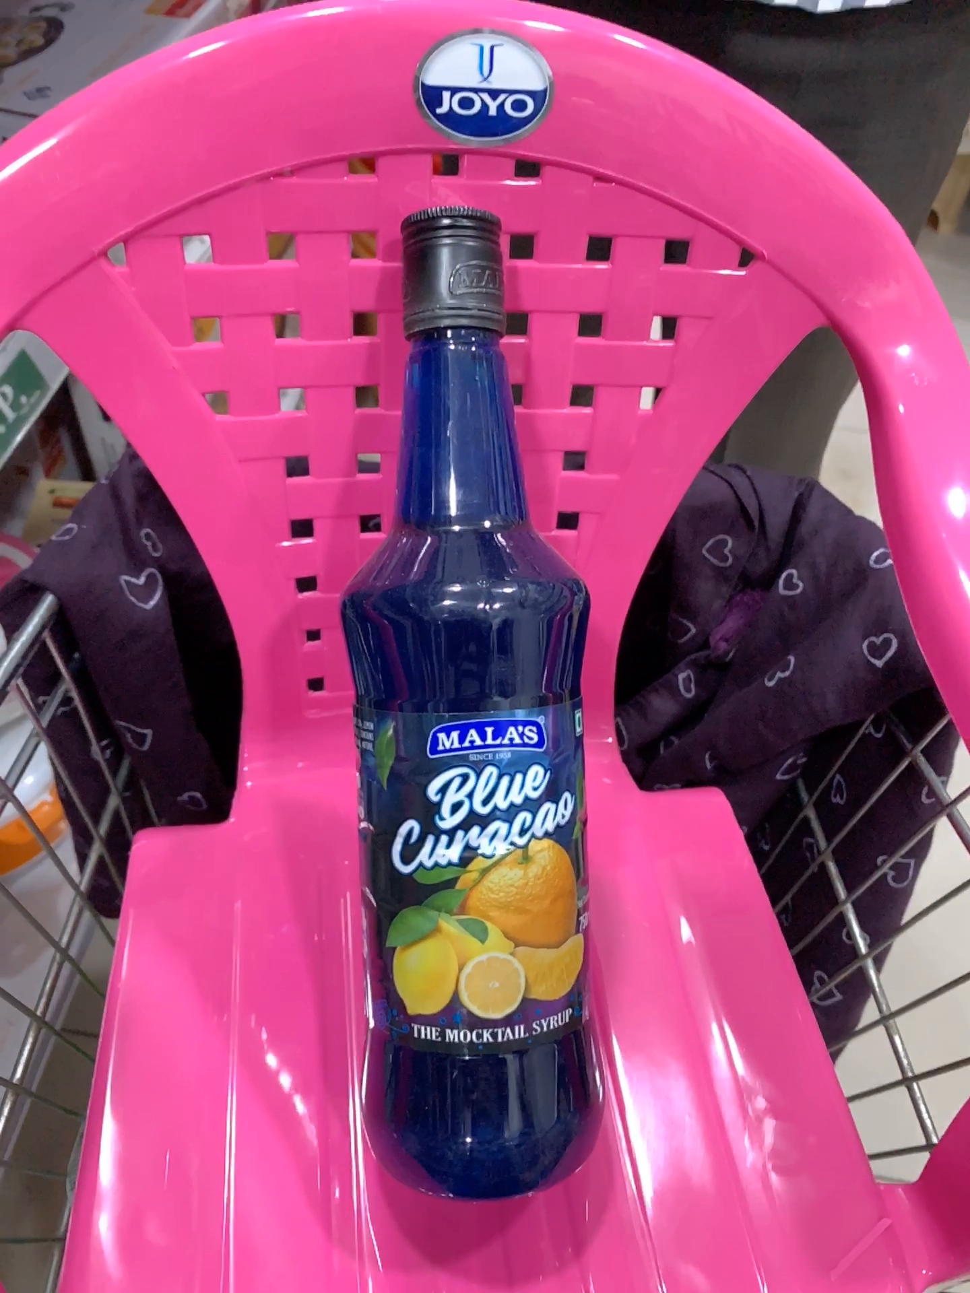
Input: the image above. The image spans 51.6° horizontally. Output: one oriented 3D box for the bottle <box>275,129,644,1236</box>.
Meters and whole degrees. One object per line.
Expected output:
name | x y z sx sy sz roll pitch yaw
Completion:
bottle | -0.009 0.011 0.286 0.080 0.270 0.080 -2 8 0
